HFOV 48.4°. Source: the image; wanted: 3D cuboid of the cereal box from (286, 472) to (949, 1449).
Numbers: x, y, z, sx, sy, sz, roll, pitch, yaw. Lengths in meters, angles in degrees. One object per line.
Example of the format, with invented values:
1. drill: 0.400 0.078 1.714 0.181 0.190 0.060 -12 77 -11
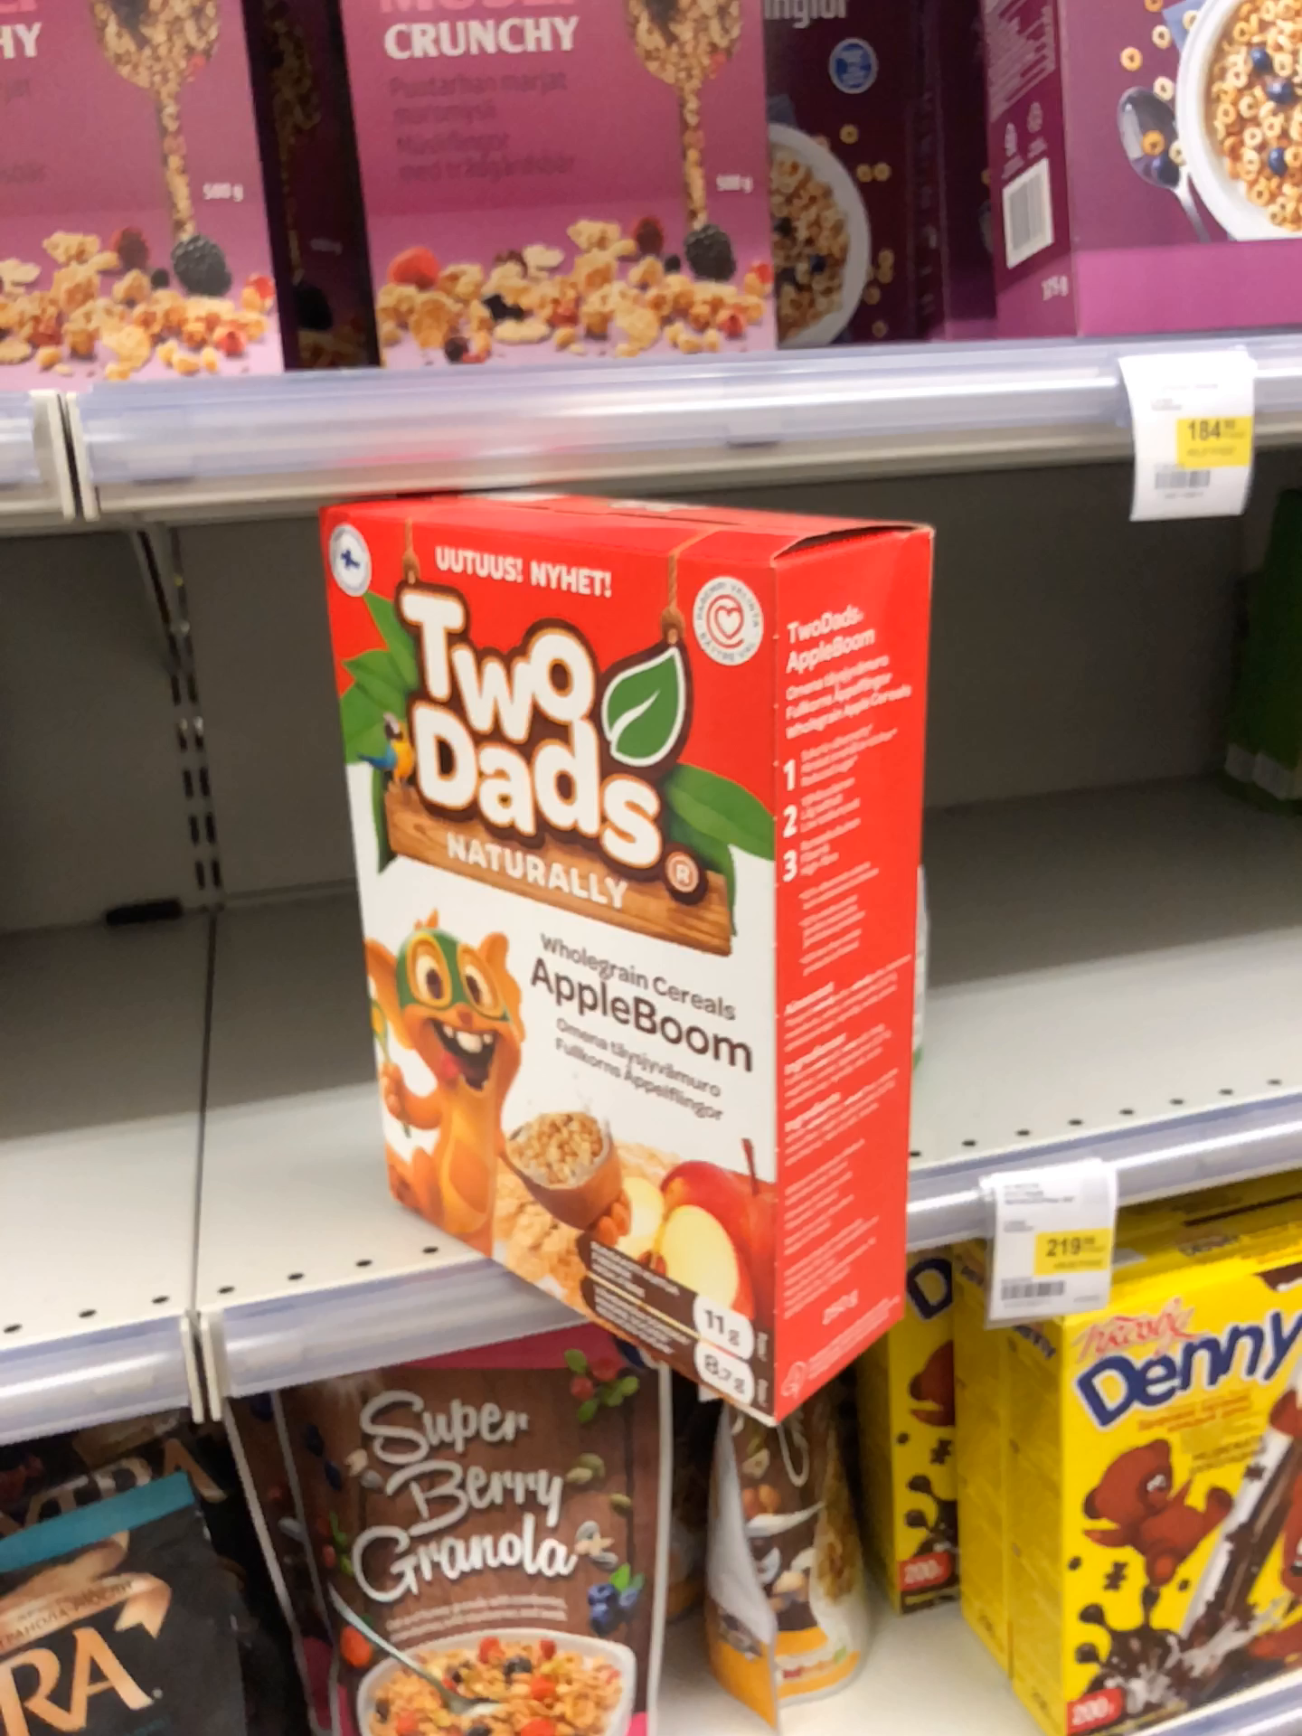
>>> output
1. cereal box: -0.016 0.016 0.483 0.201 0.269 0.080 17 27 40
